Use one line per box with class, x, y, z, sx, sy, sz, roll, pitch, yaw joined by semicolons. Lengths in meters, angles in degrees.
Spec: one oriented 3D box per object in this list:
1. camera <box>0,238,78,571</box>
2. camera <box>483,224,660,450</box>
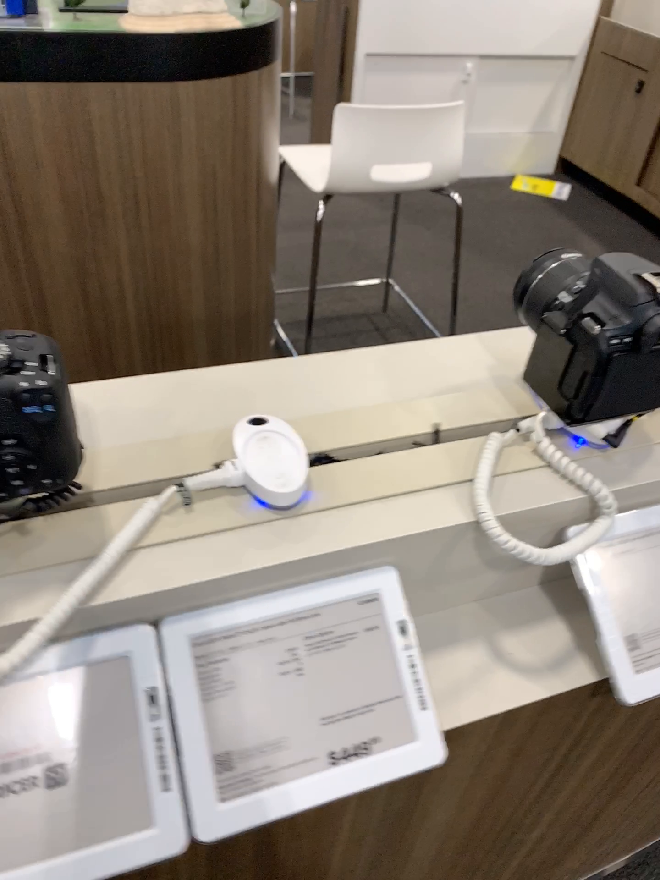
camera;-0.223;-0.029;0.382;0.134;0.101;0.146;-9;43;-16
camera;0.209;-0.082;0.499;0.121;0.089;0.135;-13;44;-20
